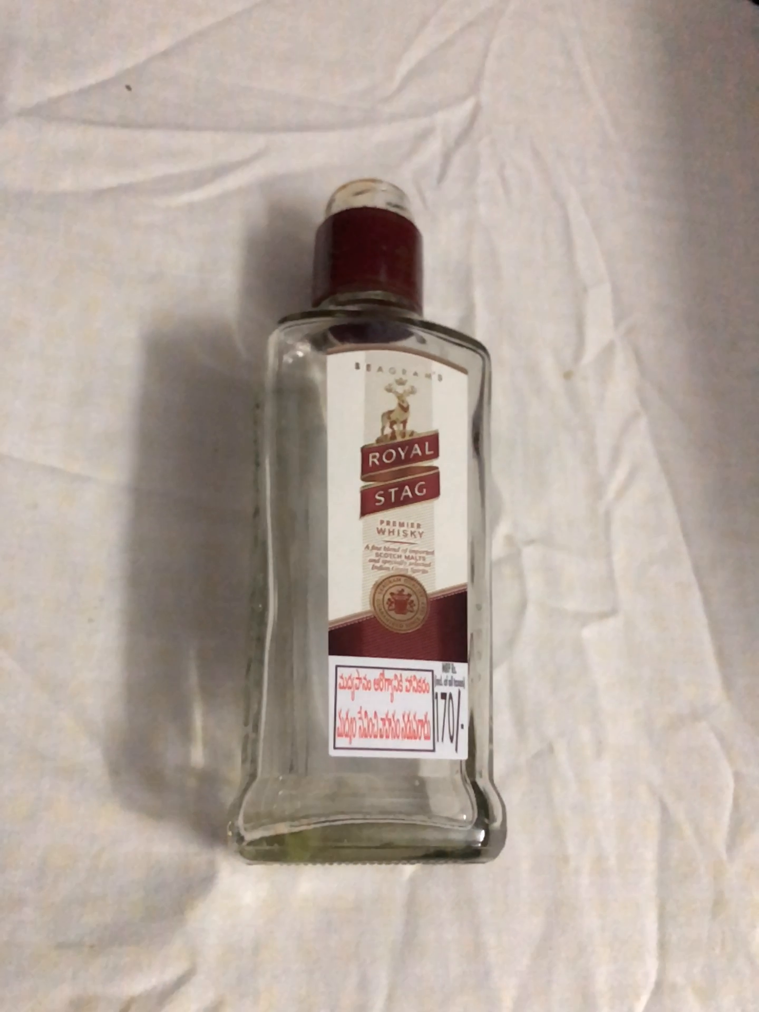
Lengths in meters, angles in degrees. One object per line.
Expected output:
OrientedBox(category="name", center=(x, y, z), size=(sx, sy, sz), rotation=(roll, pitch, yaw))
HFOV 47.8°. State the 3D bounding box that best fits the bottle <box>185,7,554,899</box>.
OrientedBox(category="bottle", center=(-0.003, -0.014, 0.192), size=(0.060, 0.050, 0.180), rotation=(6, 72, -15))
